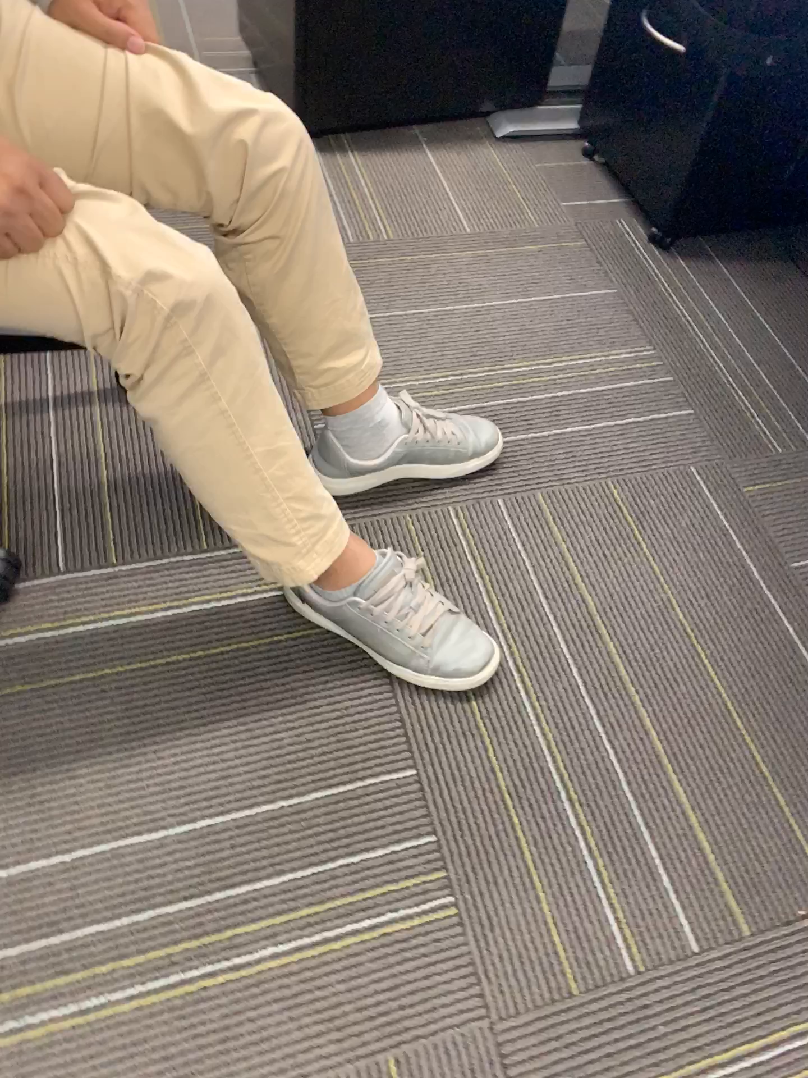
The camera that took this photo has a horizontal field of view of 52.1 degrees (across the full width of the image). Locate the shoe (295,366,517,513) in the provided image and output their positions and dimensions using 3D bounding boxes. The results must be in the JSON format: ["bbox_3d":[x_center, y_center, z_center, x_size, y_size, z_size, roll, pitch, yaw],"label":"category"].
[{"bbox_3d":[-0.002,-0.142,1.166,0.280,0.110,0.120,-12,57,-15],"label":"shoe"}]

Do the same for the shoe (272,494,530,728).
[{"bbox_3d":[-0.010,0.086,0.994,0.270,0.139,0.120,26,55,11],"label":"shoe"}]
